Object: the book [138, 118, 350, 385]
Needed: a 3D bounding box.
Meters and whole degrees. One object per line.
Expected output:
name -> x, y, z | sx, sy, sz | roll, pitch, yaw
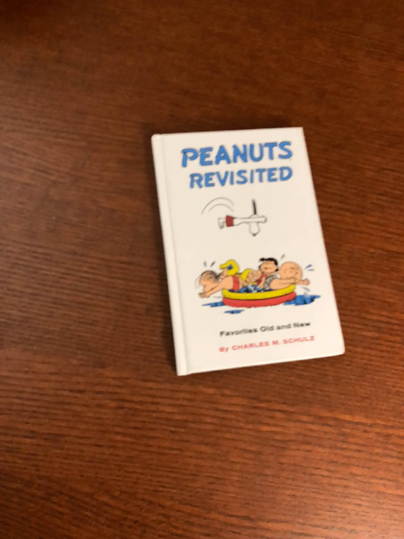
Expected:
book -> 0.030, -0.023, 0.388 | 0.150, 0.020, 0.220 | -5, 76, -7
